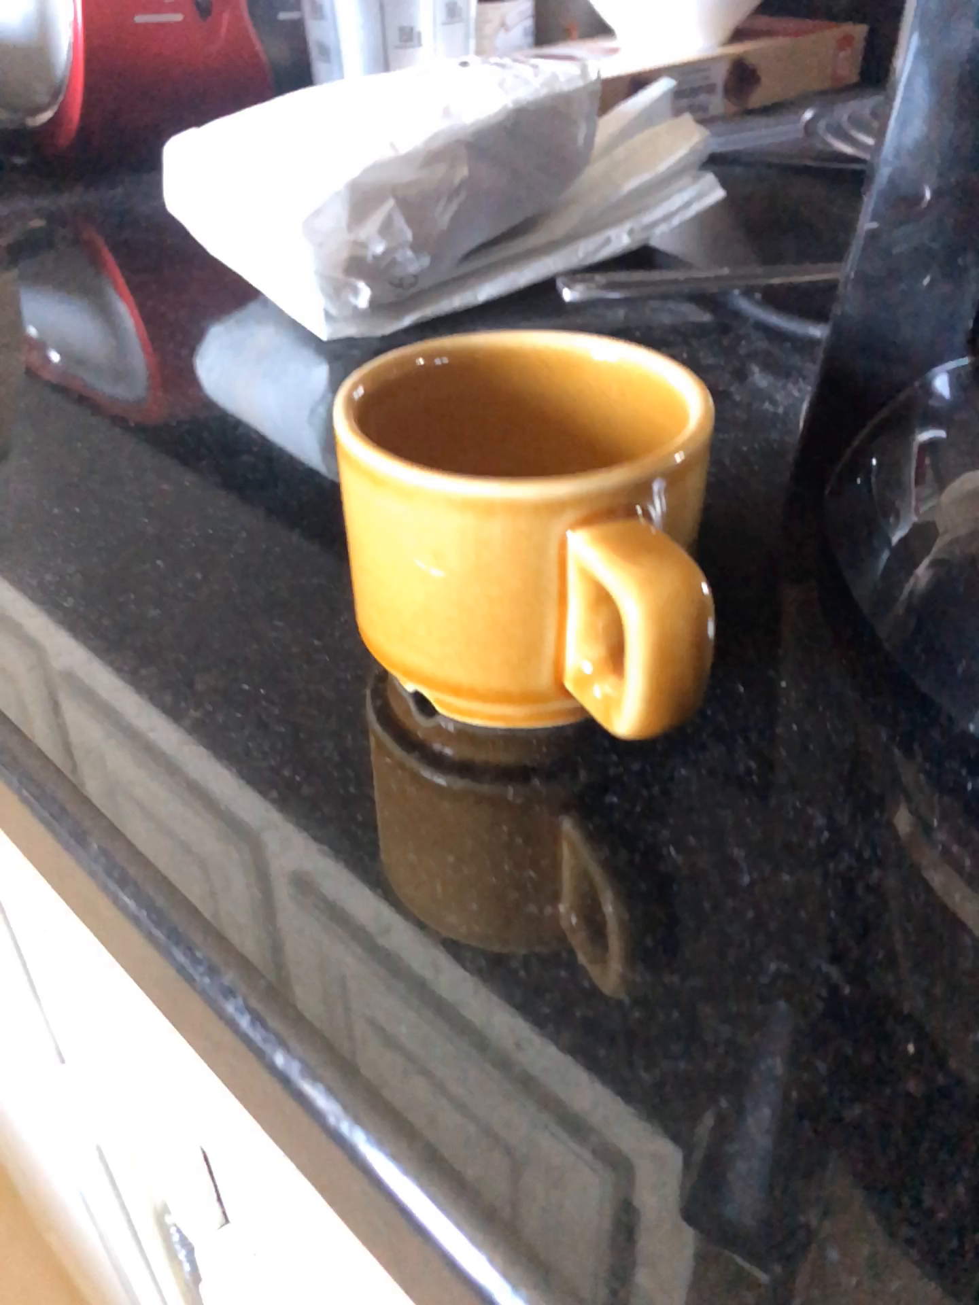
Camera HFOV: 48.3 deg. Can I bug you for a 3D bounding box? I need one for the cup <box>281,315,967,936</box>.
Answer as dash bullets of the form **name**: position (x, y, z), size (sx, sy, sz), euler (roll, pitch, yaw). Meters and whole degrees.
- **cup**: position (0.014, -0.015, 0.191), size (0.070, 0.050, 0.100), euler (-15, 38, -19)
